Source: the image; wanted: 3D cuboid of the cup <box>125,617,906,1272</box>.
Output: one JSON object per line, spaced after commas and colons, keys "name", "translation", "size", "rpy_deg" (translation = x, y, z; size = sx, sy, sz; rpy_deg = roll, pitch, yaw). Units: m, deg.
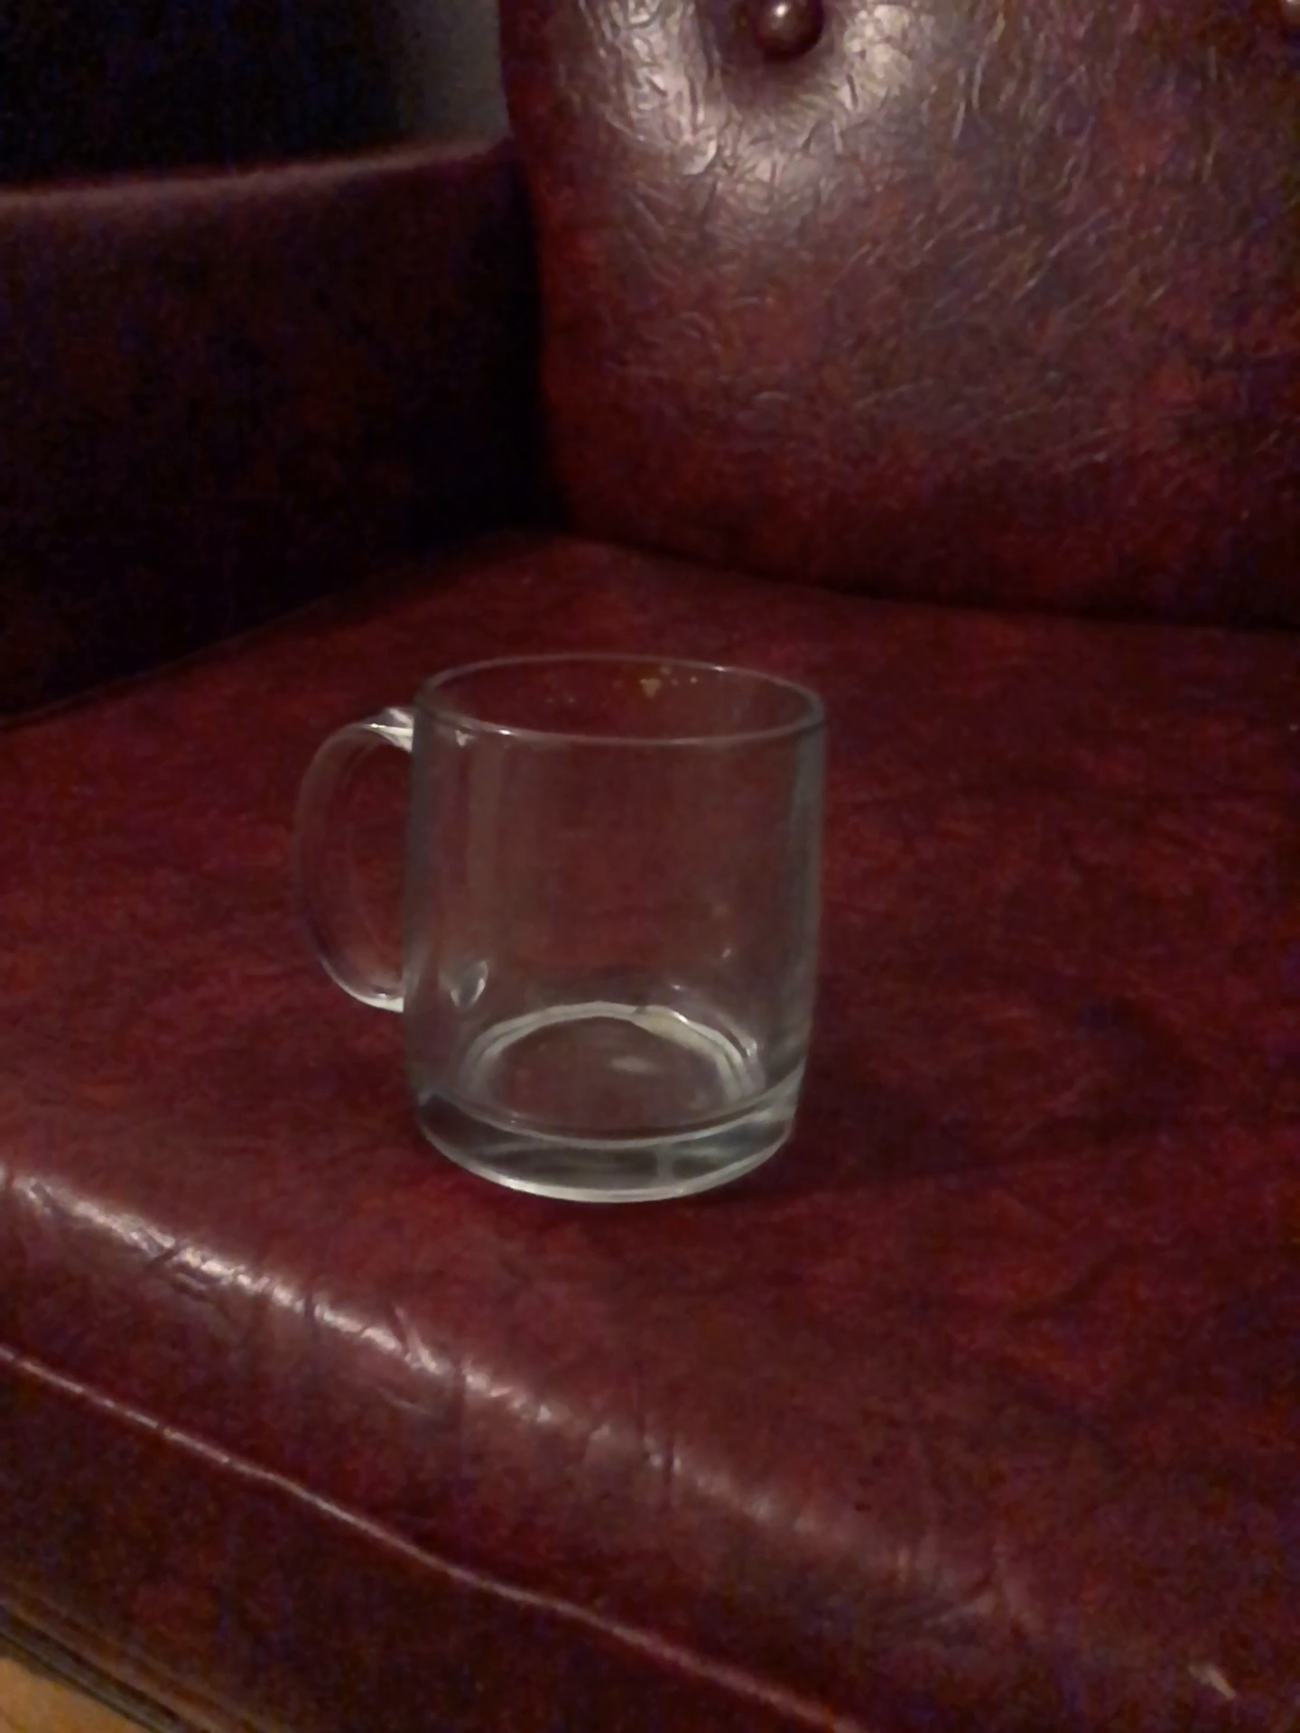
{"name": "cup", "translation": [-0.024, 0.005, 0.301], "size": [0.128, 0.090, 0.090], "rpy_deg": [10, 20, 21]}
